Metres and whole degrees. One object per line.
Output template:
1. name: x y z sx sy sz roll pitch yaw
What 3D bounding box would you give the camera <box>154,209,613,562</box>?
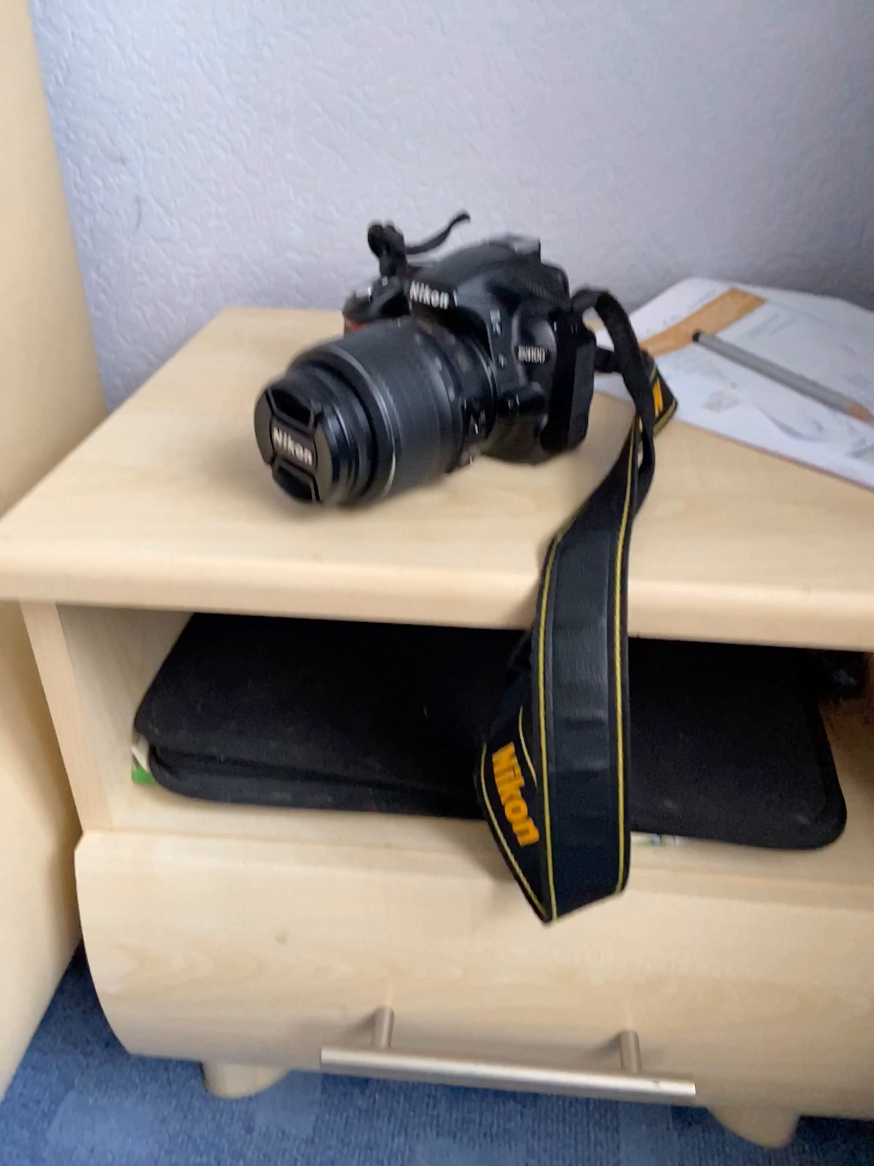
1. camera: -0.019 -0.099 0.398 0.118 0.091 0.152 26 41 34
